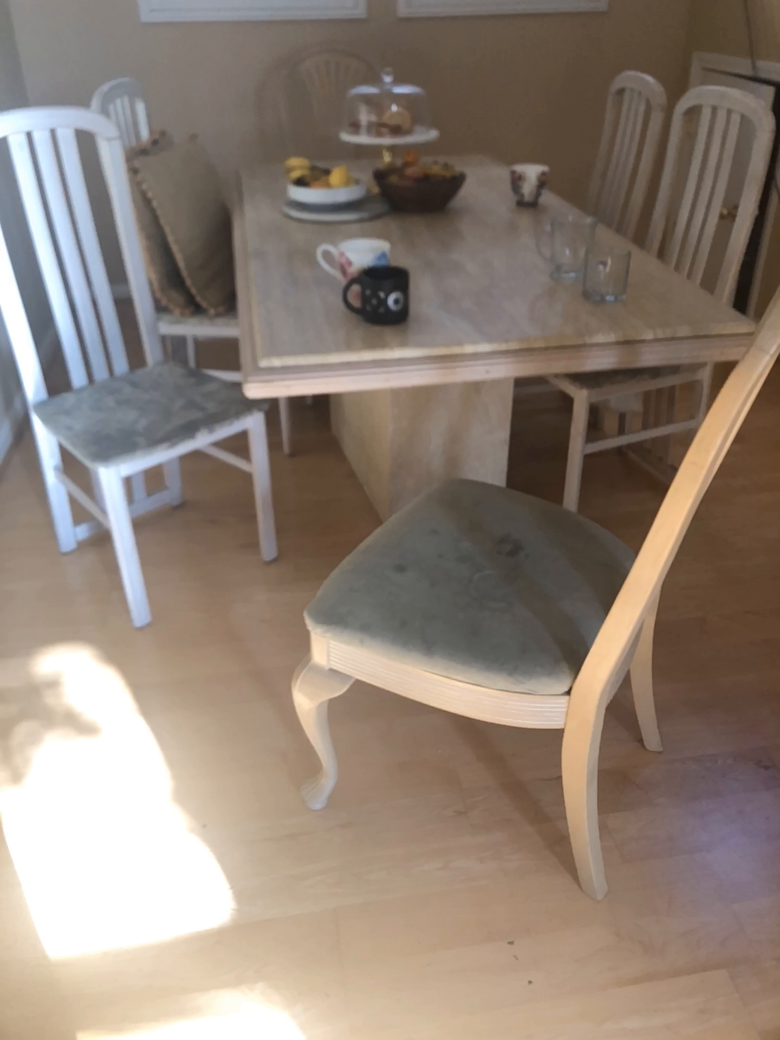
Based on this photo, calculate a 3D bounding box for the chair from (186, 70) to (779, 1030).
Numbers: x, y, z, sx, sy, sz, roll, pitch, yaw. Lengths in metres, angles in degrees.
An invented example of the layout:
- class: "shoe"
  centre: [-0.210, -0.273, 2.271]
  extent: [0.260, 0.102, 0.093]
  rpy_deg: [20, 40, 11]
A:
- class: "chair"
  centre: [0.184, 0.051, 1.392]
  extent: [0.630, 1.289, 0.595]
  rpy_deg: [19, 37, 25]

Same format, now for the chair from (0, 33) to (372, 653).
- class: "chair"
  centre: [-0.546, -0.499, 2.395]
  extent: [0.634, 1.448, 0.671]
  rpy_deg: [-26, 37, -34]
